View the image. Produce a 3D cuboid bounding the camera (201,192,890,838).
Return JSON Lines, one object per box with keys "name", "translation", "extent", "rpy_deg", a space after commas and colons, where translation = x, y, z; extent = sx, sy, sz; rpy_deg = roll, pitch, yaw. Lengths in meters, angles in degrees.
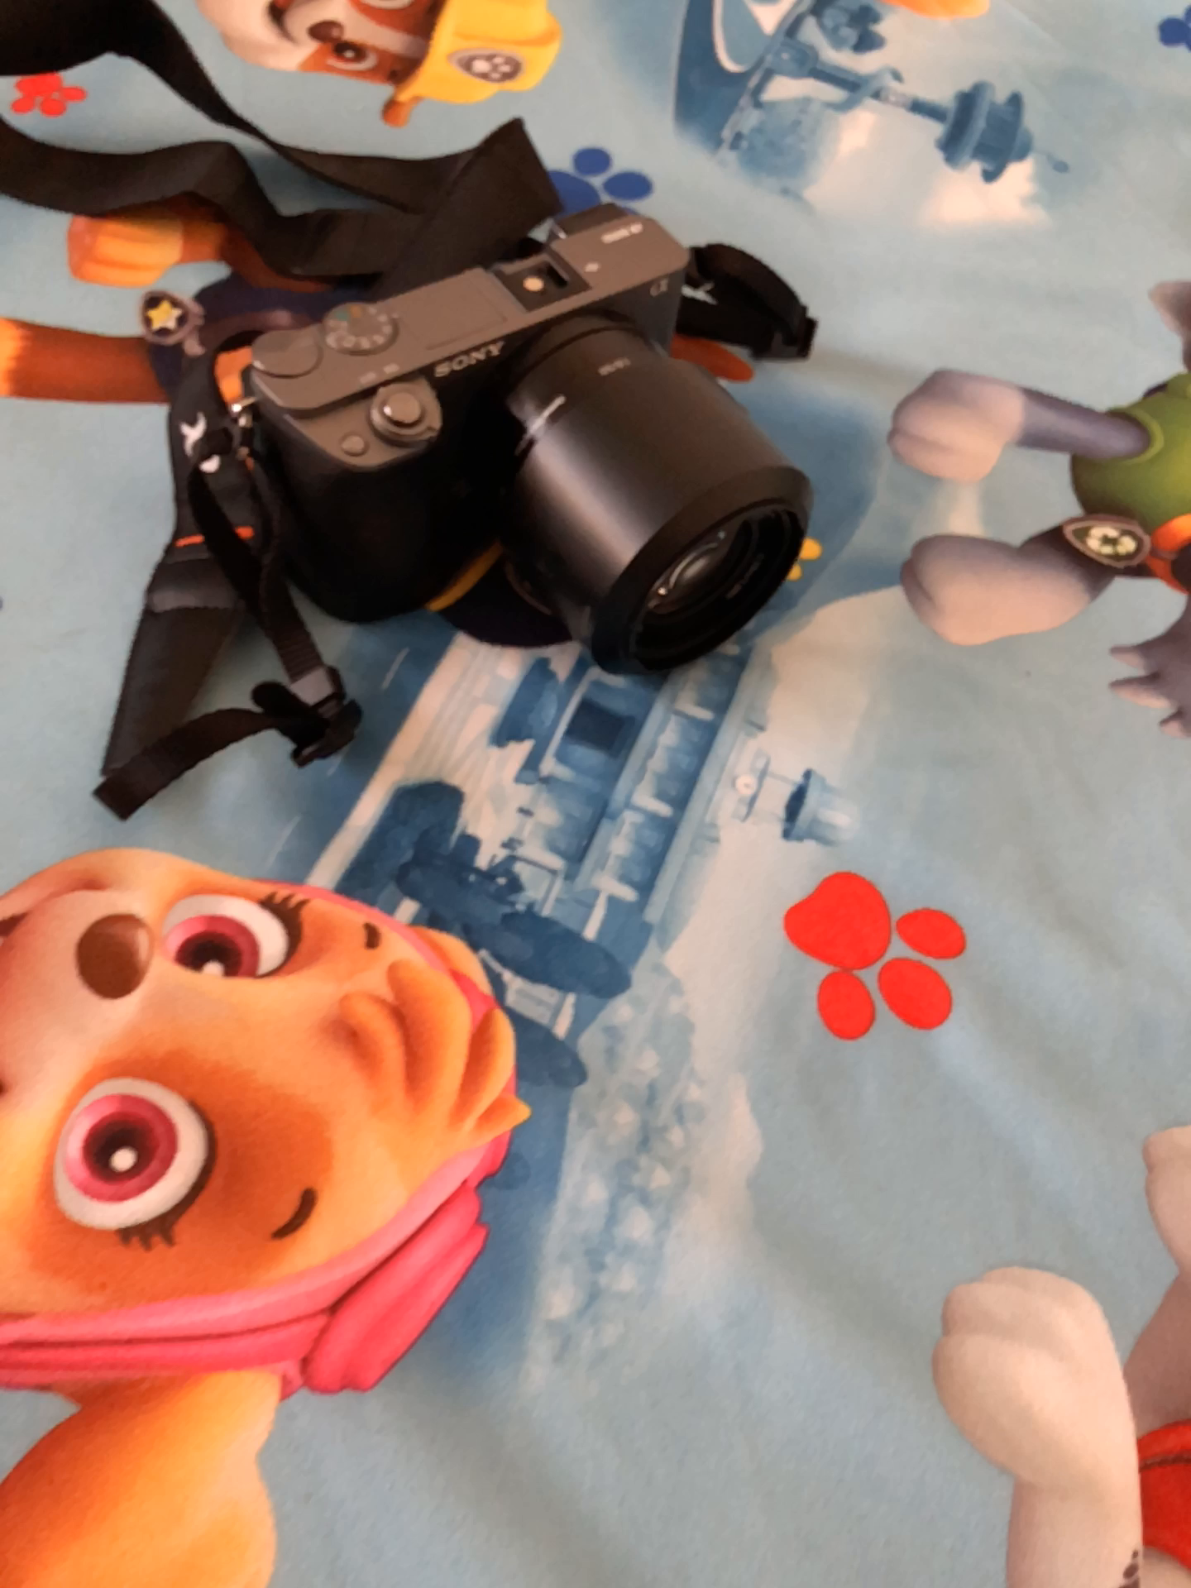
{"name": "camera", "translation": [-0.015, -0.079, 0.359], "extent": [0.130, 0.080, 0.110], "rpy_deg": [-29, 65, -22]}
